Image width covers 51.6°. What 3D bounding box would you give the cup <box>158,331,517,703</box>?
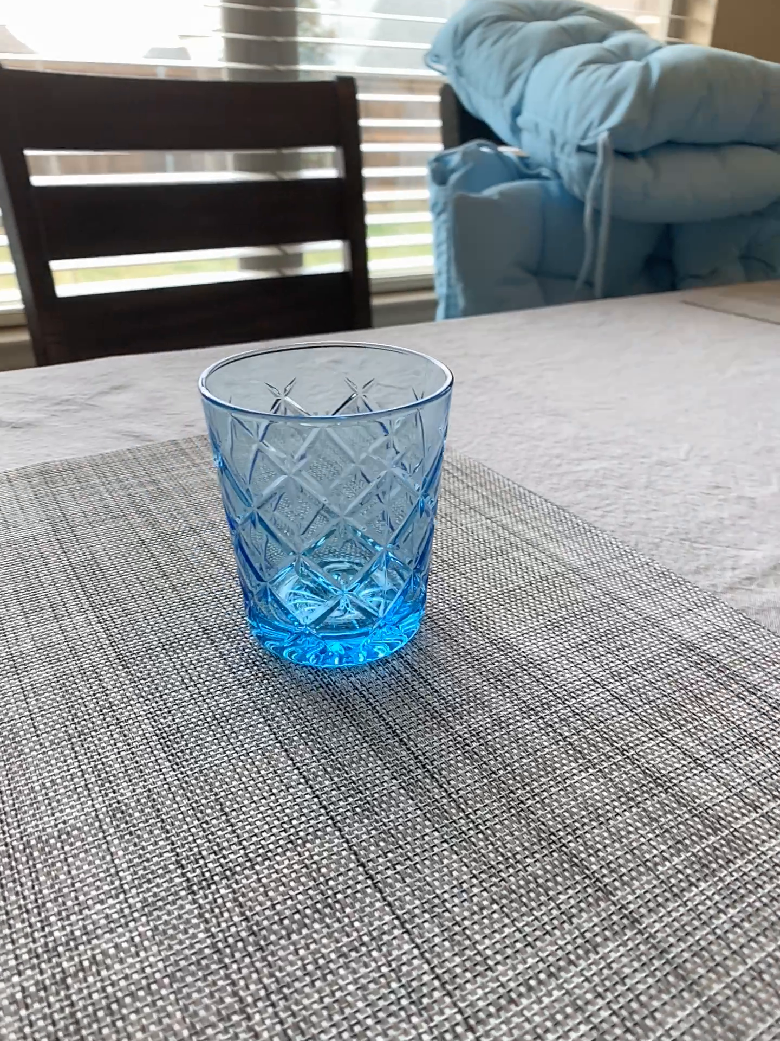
[{"bbox_3d":[-0.022,-0.010,0.286,0.087,0.085,0.093,1,27,0],"label":"cup"}]
